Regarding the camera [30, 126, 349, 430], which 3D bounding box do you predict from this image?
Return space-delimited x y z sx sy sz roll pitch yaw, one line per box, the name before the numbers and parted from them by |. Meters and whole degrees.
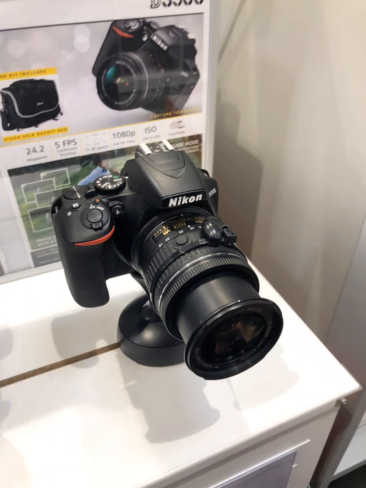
camera | -0.008 0.004 0.252 0.130 0.089 0.141 -15 40 -19
